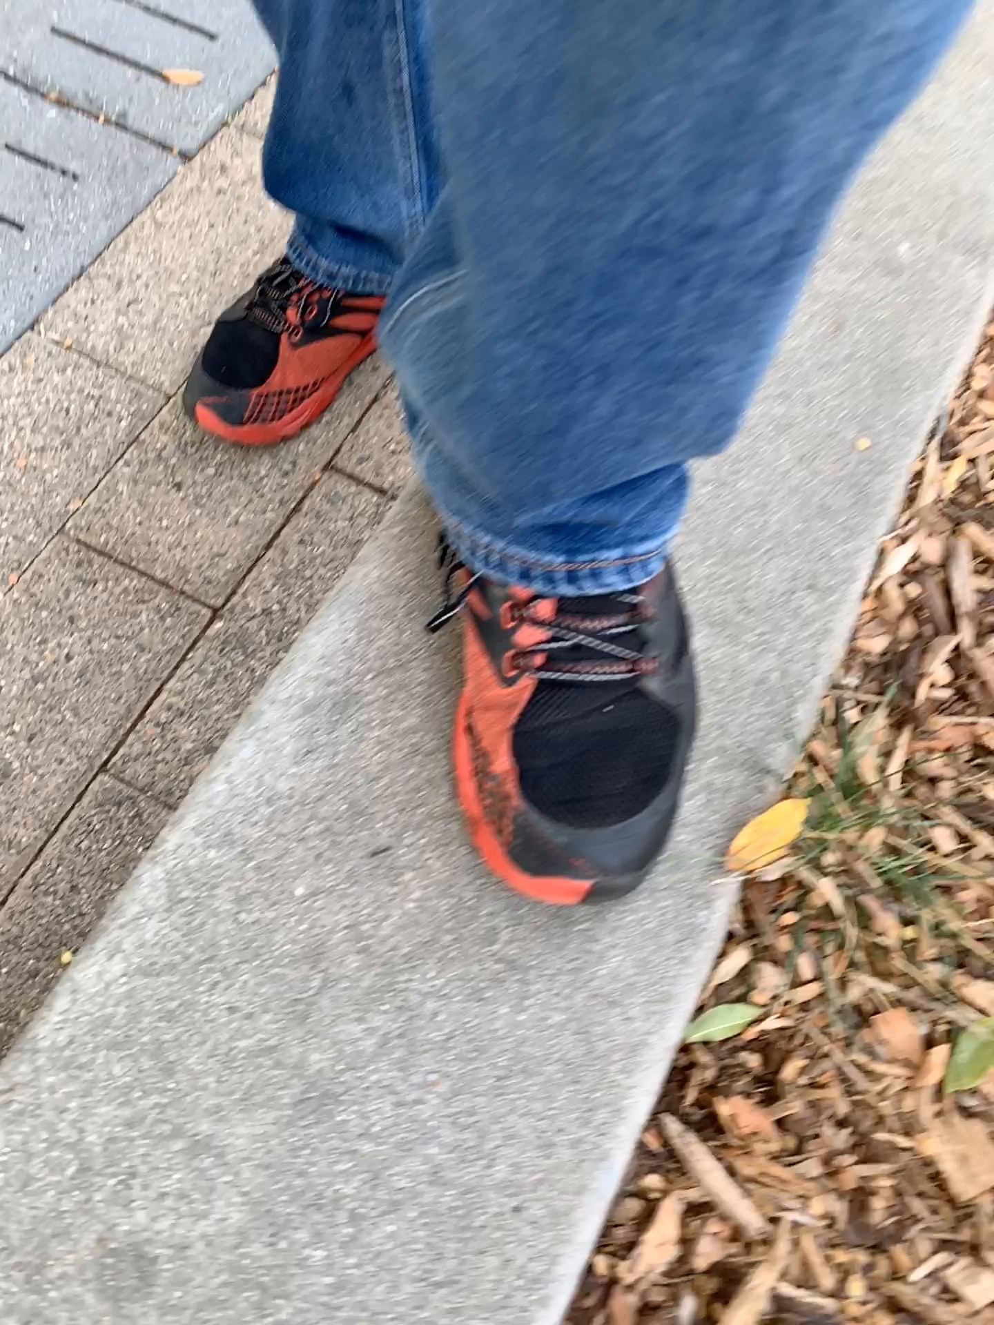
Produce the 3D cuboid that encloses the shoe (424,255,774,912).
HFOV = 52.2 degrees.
[{"bbox_3d":[0.032,-0.049,0.484,0.122,0.080,0.310,-2,65,-4],"label":"shoe"}]

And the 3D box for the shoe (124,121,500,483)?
[{"bbox_3d":[-0.143,-0.310,0.853,0.136,0.080,0.306,34,68,12],"label":"shoe"}]
